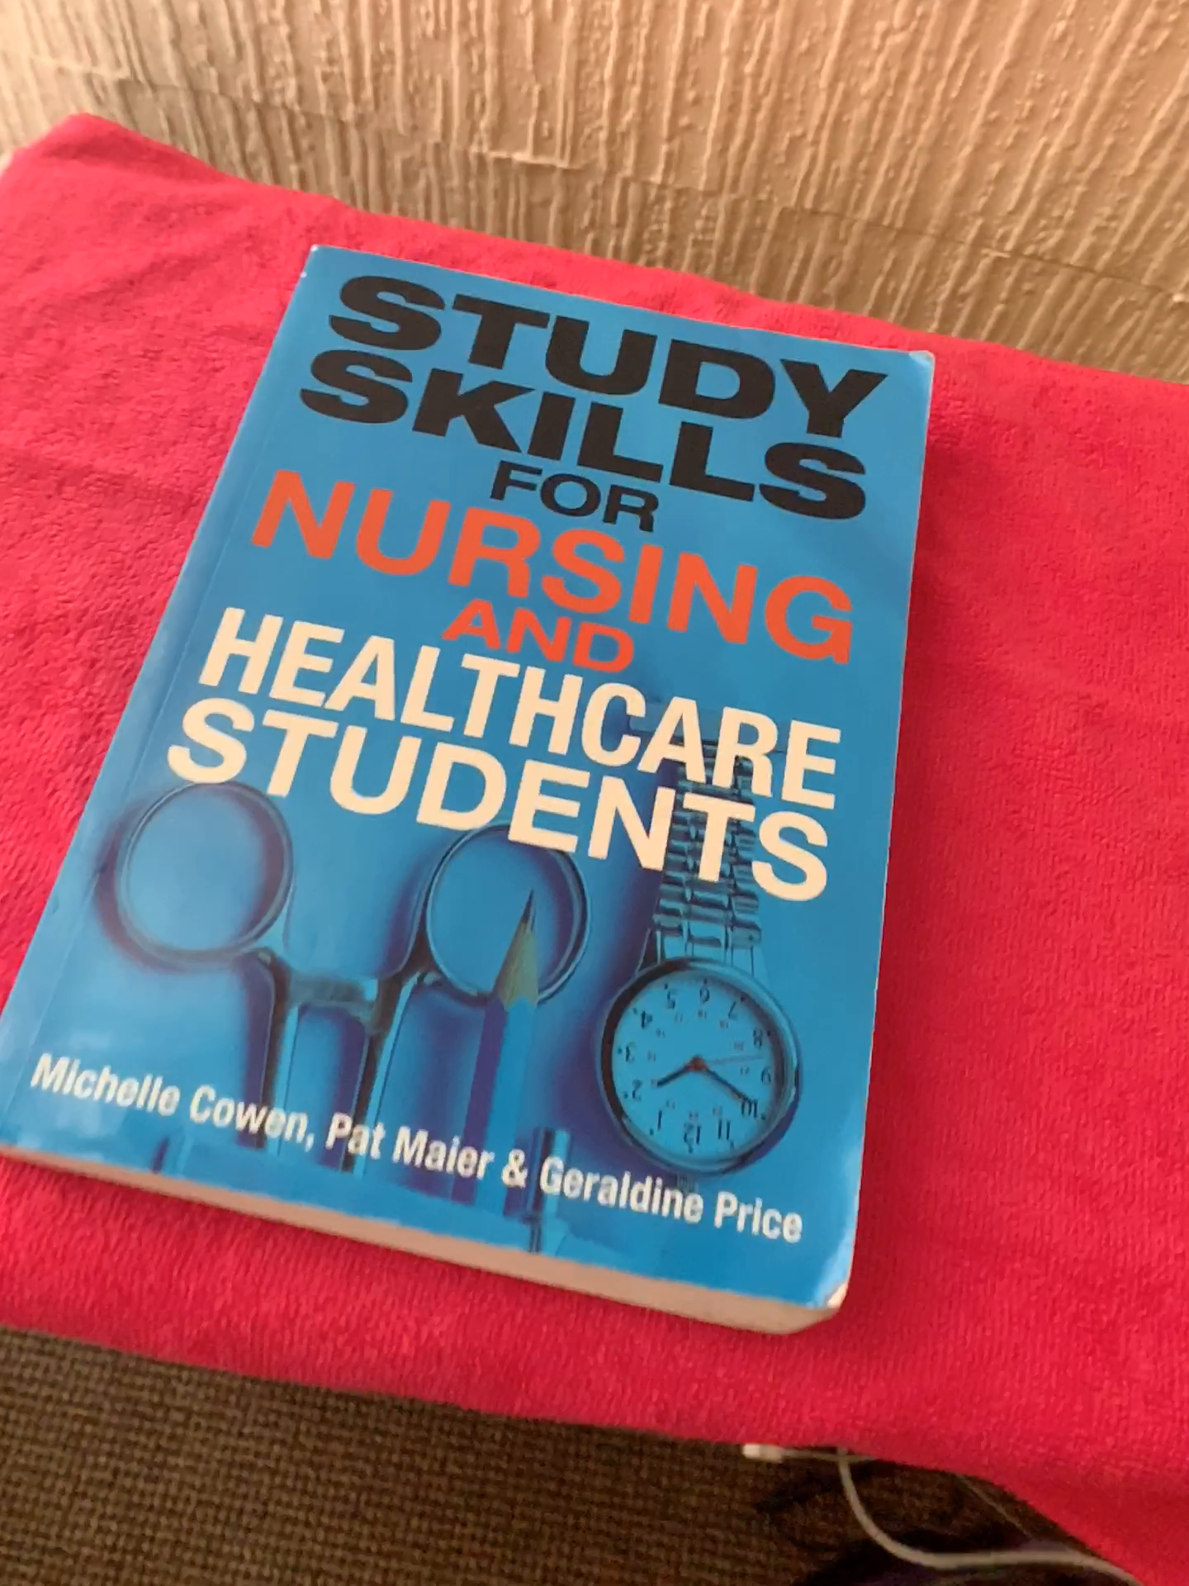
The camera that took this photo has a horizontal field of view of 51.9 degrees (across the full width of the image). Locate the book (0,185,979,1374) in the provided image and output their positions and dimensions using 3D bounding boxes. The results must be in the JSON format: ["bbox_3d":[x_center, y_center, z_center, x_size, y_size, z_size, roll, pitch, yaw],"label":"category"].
[{"bbox_3d":[-0.014,-0.025,0.301,0.200,0.040,0.272,12,62,-1],"label":"book"}]
